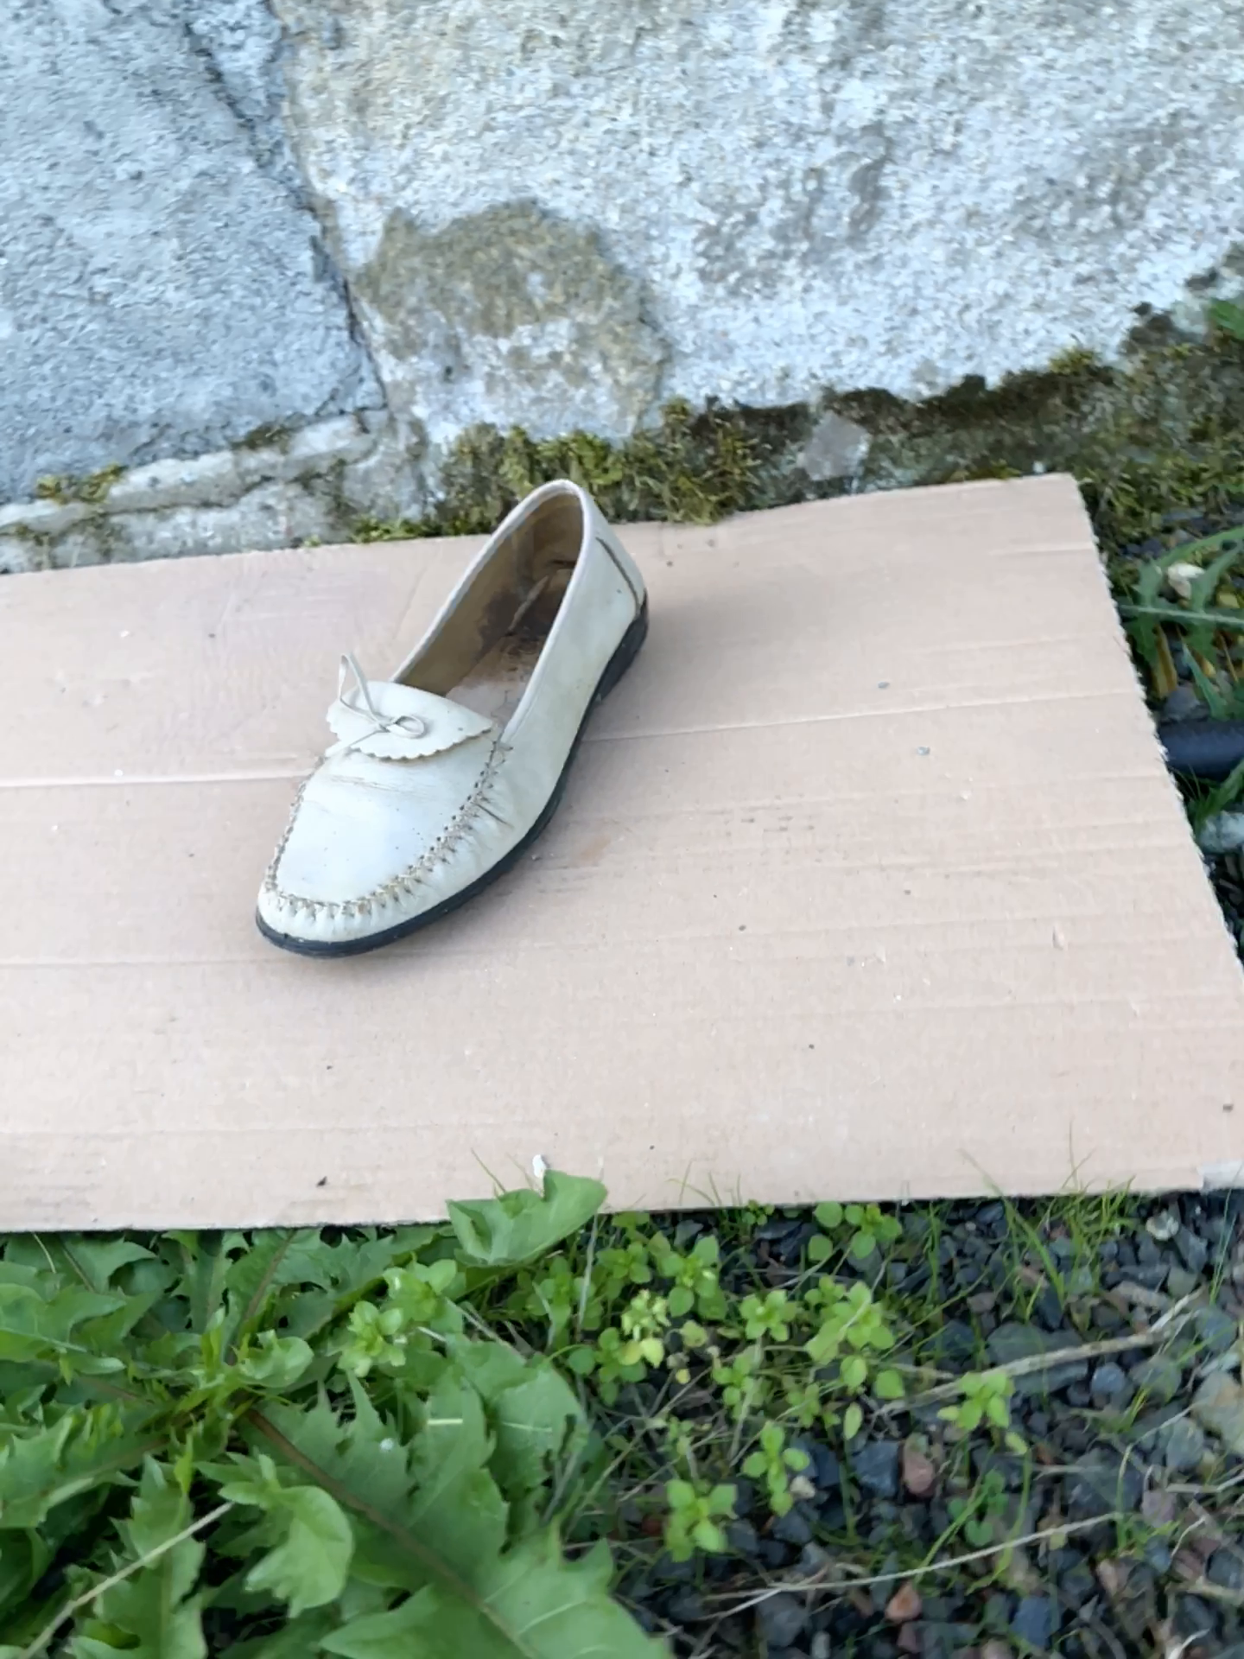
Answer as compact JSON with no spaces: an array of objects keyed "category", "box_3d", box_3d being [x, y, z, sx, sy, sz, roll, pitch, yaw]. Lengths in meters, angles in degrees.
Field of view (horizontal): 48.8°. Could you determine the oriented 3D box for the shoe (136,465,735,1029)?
[{"category":"shoe","box_3d":[-0.060,-0.050,0.565,0.100,0.080,0.261,9,45,31]}]
